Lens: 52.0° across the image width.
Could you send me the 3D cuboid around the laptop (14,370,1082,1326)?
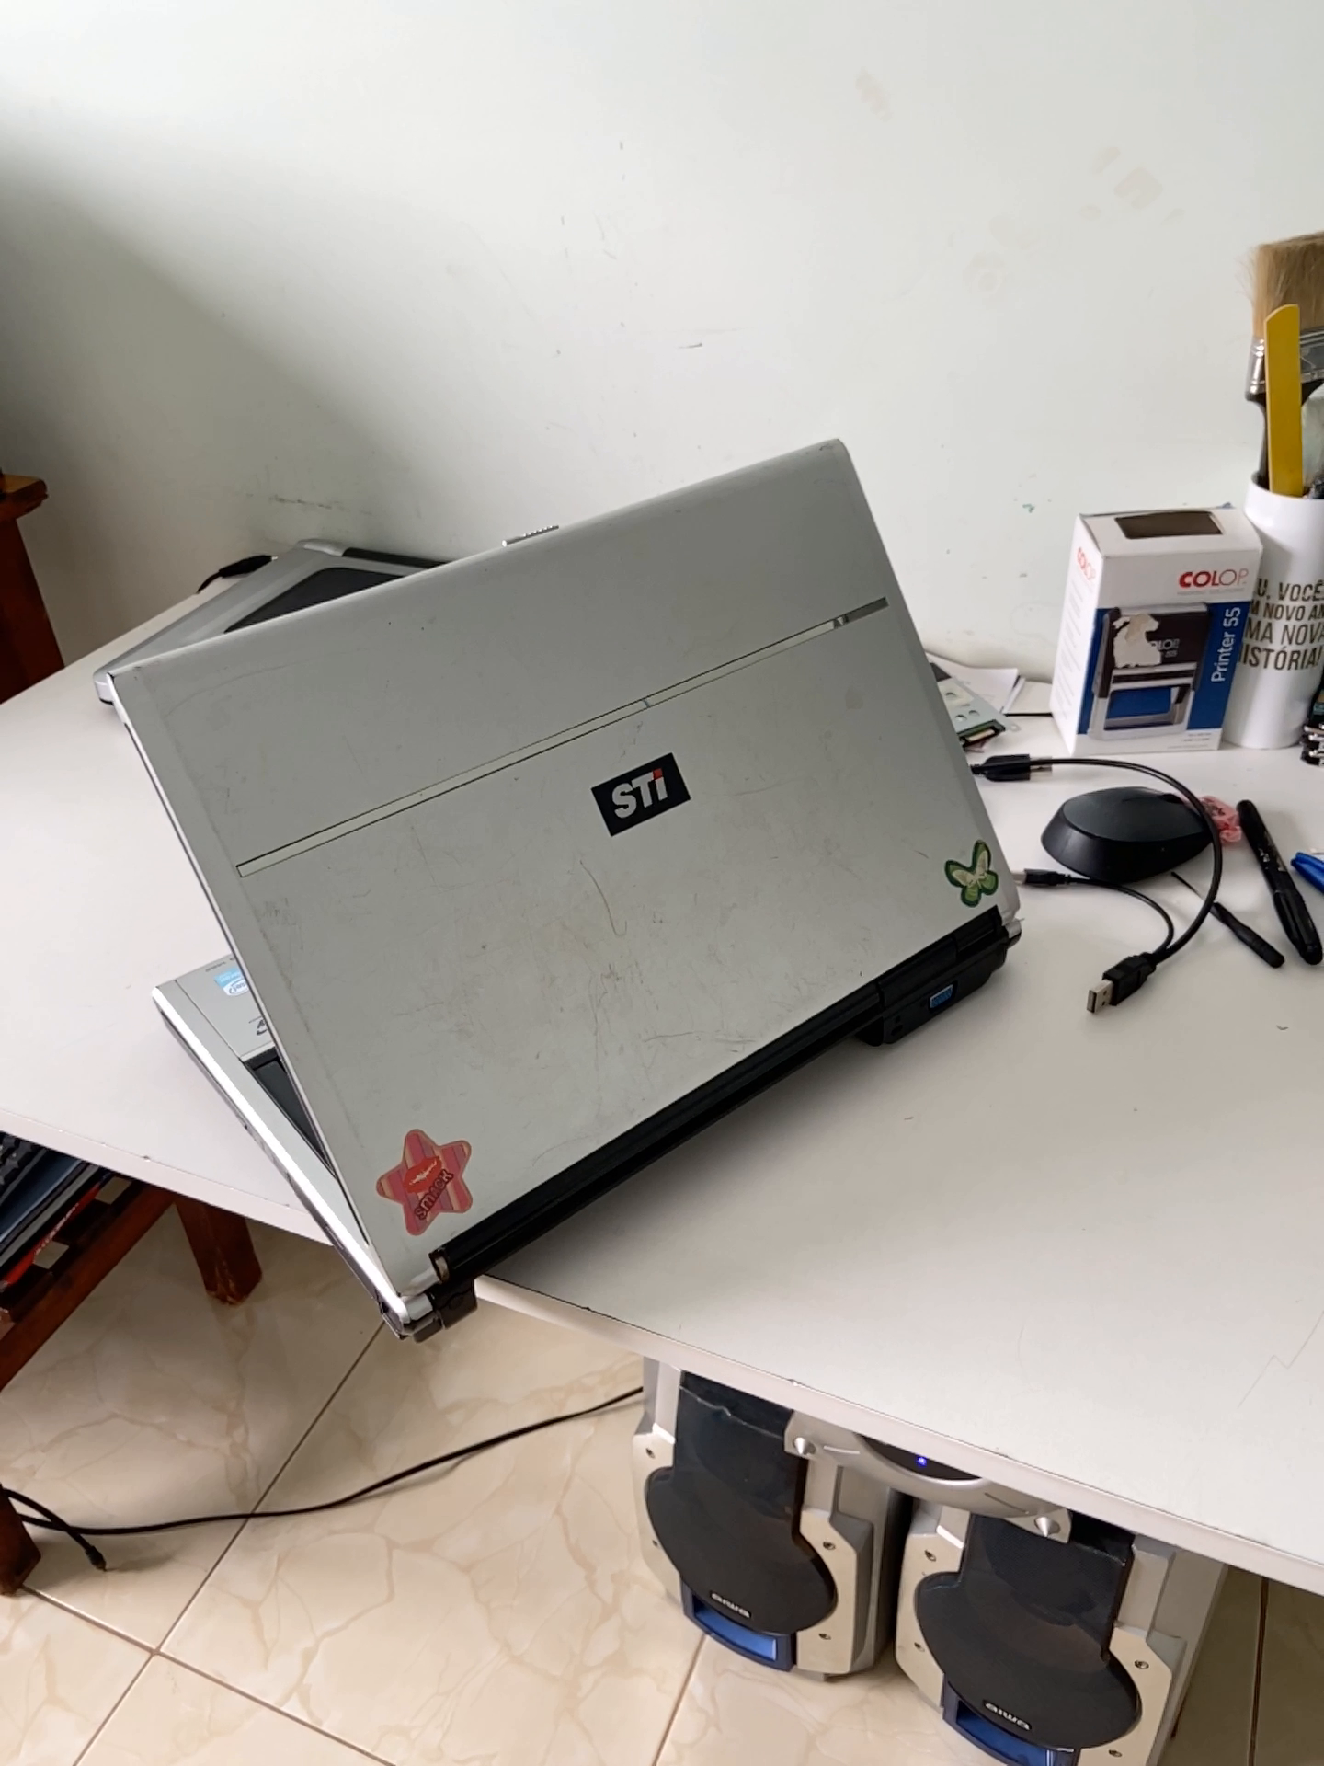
[{"bbox_3d":[-0.035,-0.050,0.583,0.338,0.210,0.236,-27,42,-30],"label":"laptop"}]
